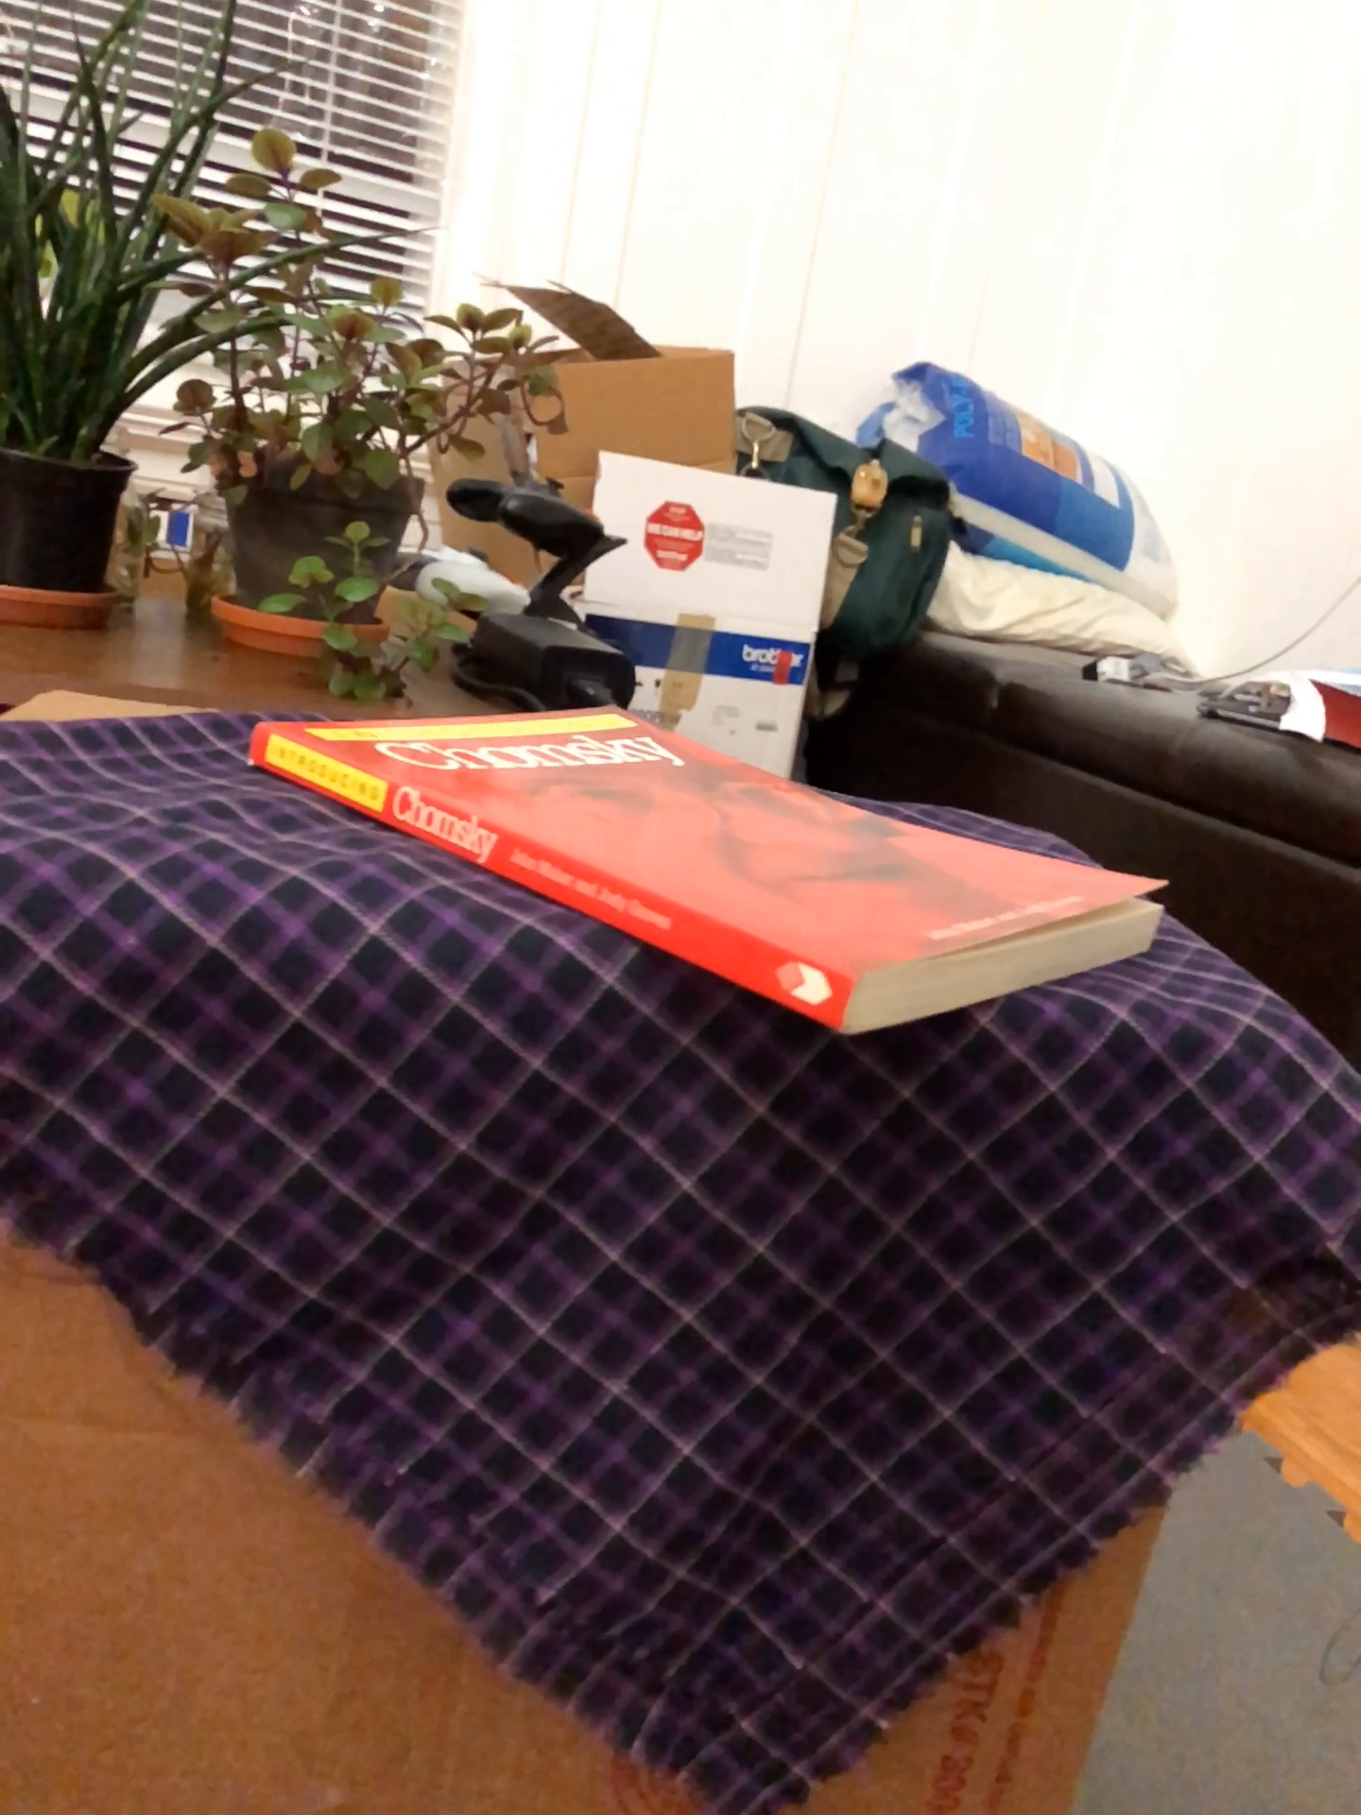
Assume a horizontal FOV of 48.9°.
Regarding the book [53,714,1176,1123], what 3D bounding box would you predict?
[{"bbox_3d":[-0.020,-0.015,0.397,0.240,0.020,0.180,21,19,37],"label":"book"}]
